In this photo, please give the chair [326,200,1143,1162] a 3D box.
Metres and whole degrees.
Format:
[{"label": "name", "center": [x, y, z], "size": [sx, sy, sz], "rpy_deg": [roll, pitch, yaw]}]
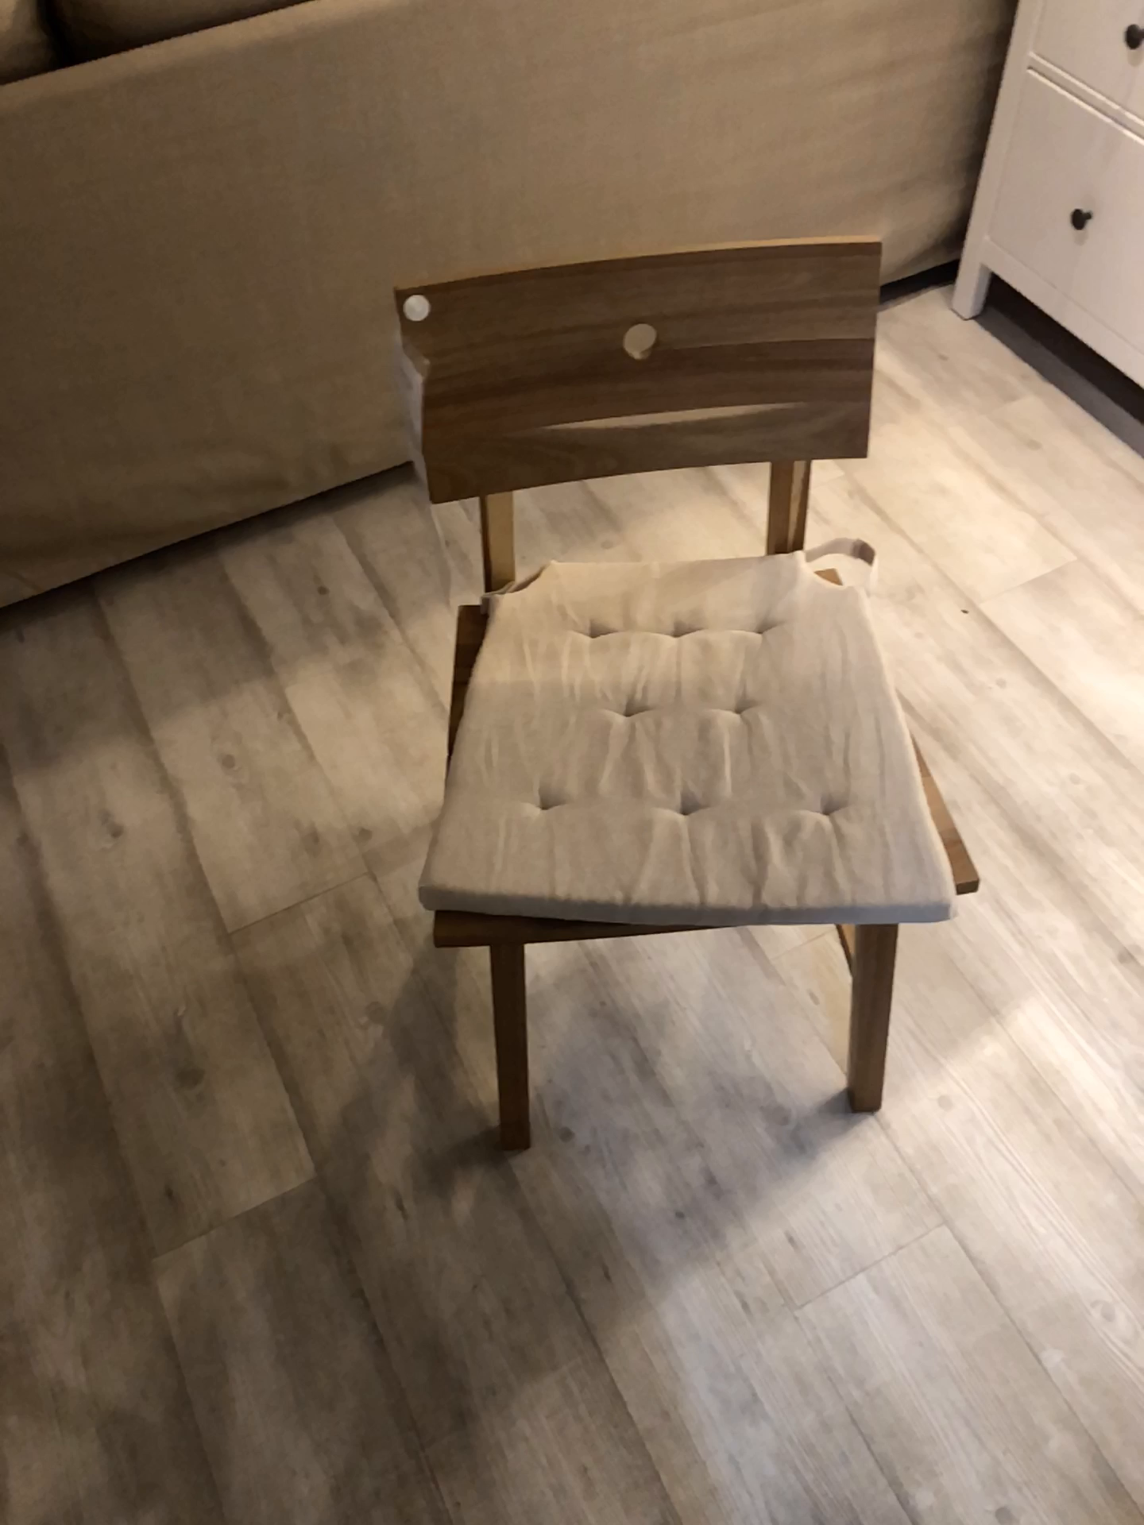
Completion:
[{"label": "chair", "center": [0.097, -0.043, 1.102], "size": [0.500, 0.598, 0.531], "rpy_deg": [-6, 53, -2]}]
